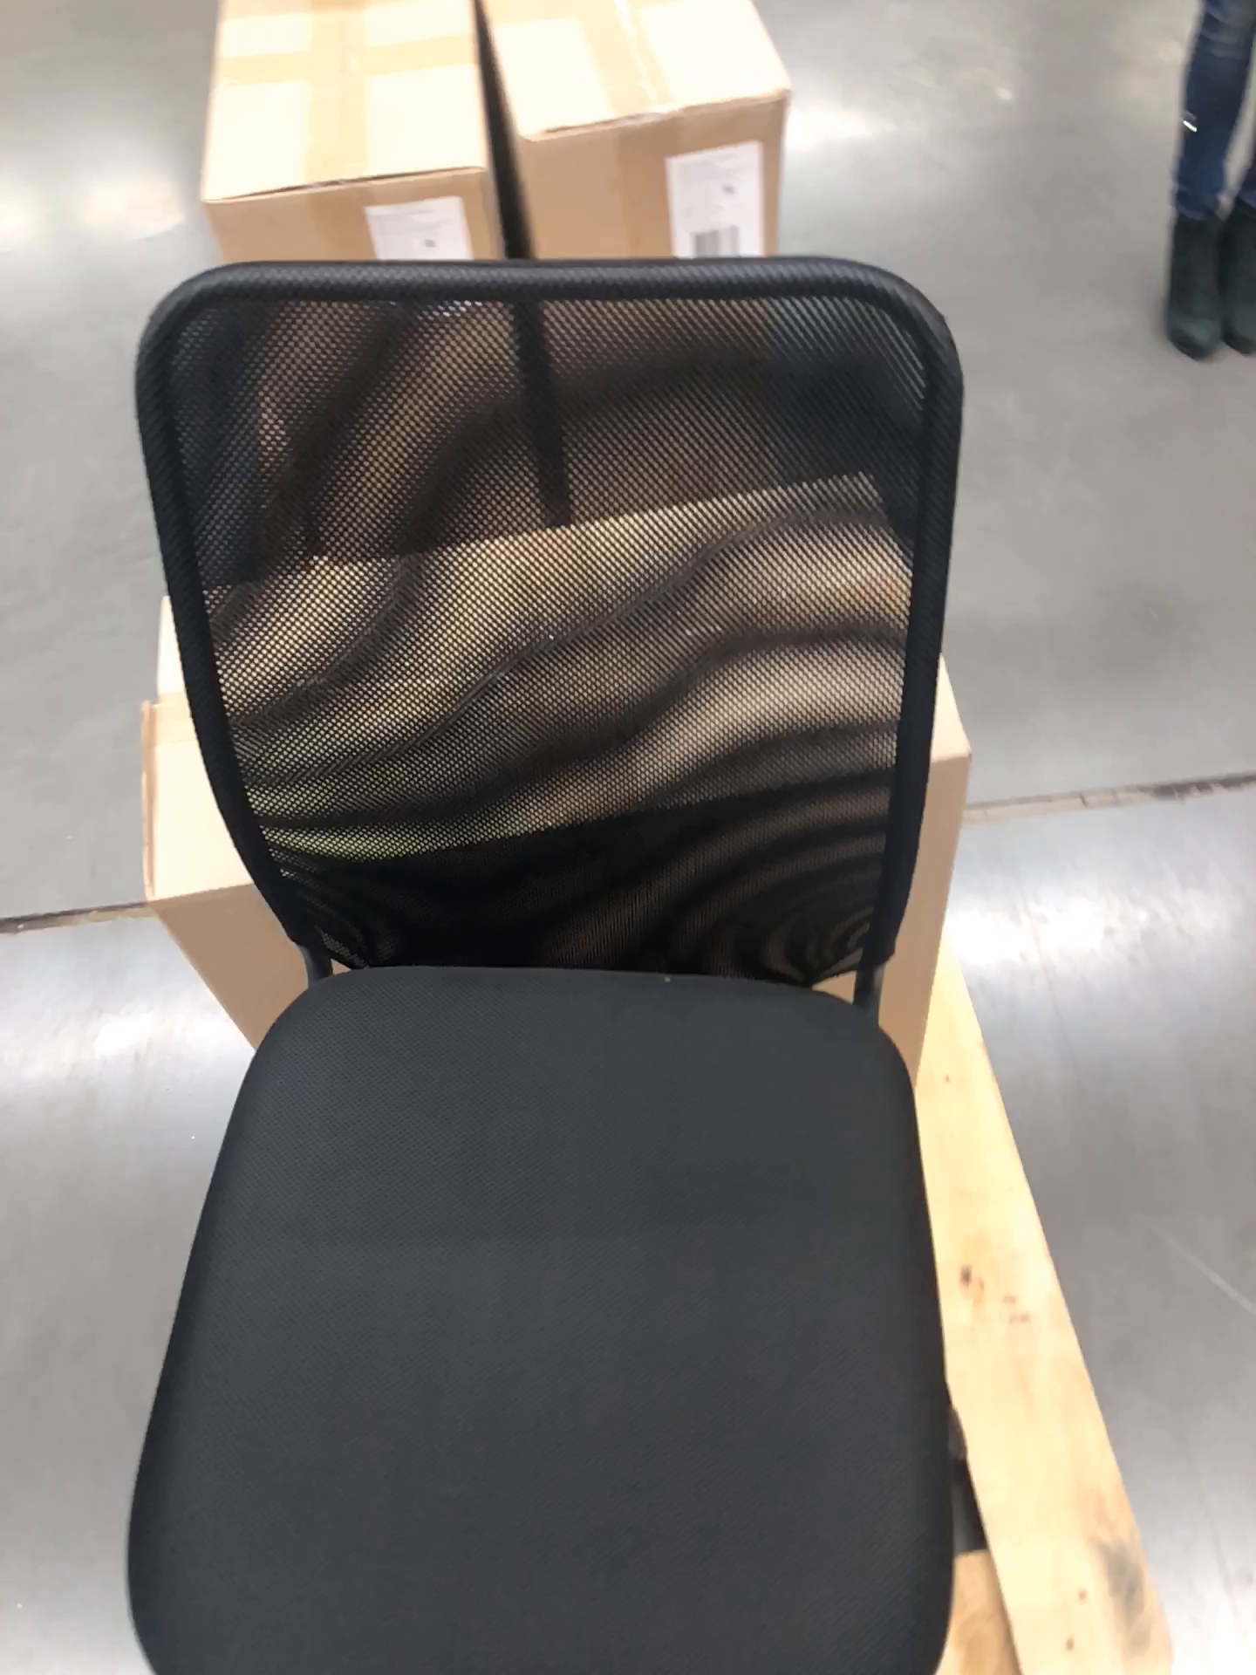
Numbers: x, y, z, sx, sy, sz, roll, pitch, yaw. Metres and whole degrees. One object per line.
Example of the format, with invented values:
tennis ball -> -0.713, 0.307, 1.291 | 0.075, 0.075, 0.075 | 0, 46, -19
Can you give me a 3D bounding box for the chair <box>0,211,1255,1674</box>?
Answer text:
chair -> -0.049, 0.282, 0.832 | 0.600, 1.035, 0.573 | 0, 56, 6
